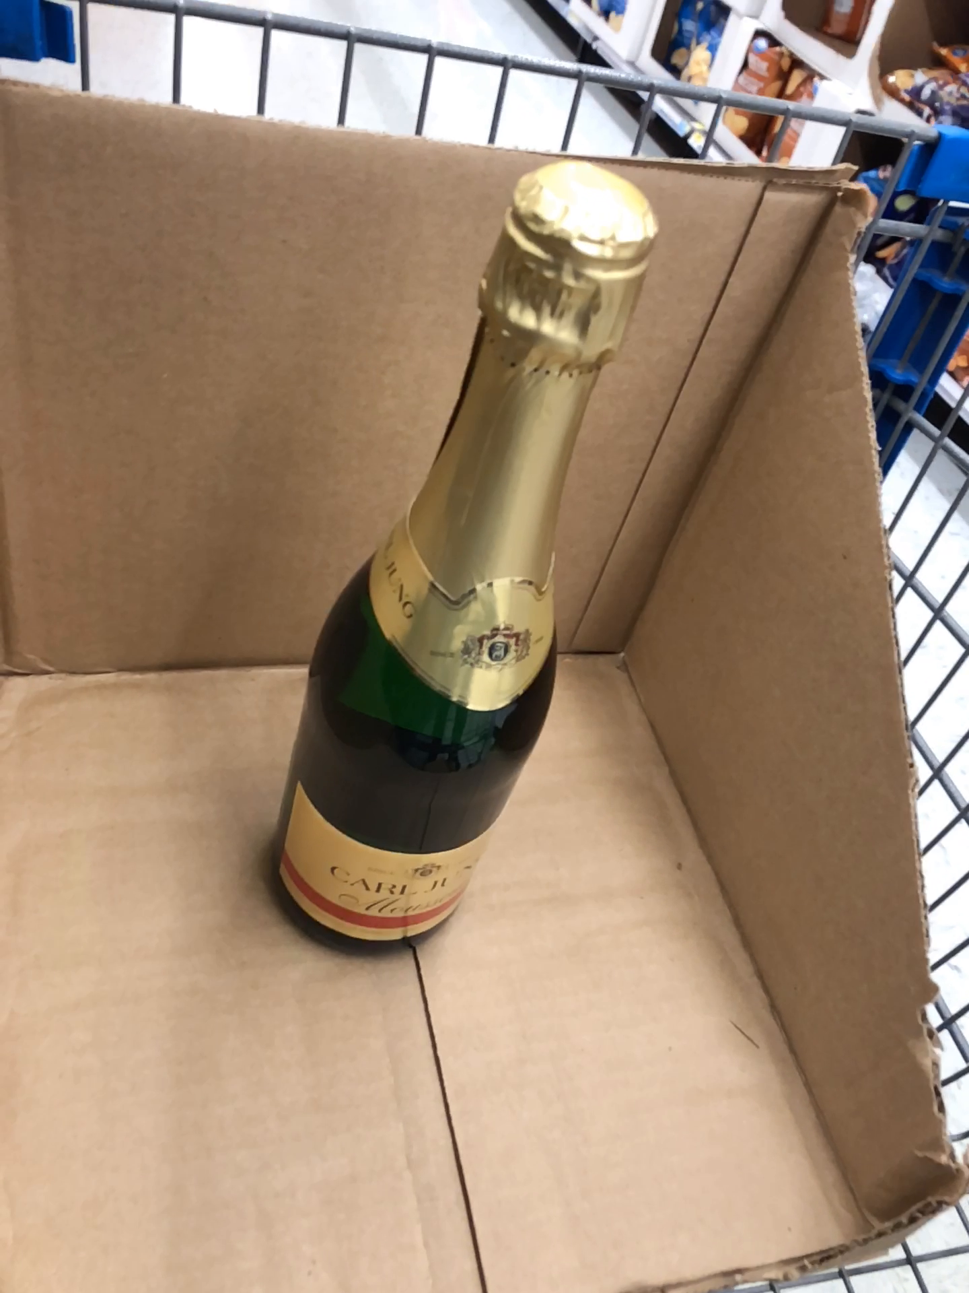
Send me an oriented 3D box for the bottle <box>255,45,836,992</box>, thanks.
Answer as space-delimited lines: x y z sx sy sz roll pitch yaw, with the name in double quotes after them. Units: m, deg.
-0.010 -0.010 0.332 0.090 0.288 0.081 -3 44 -21 "bottle"
